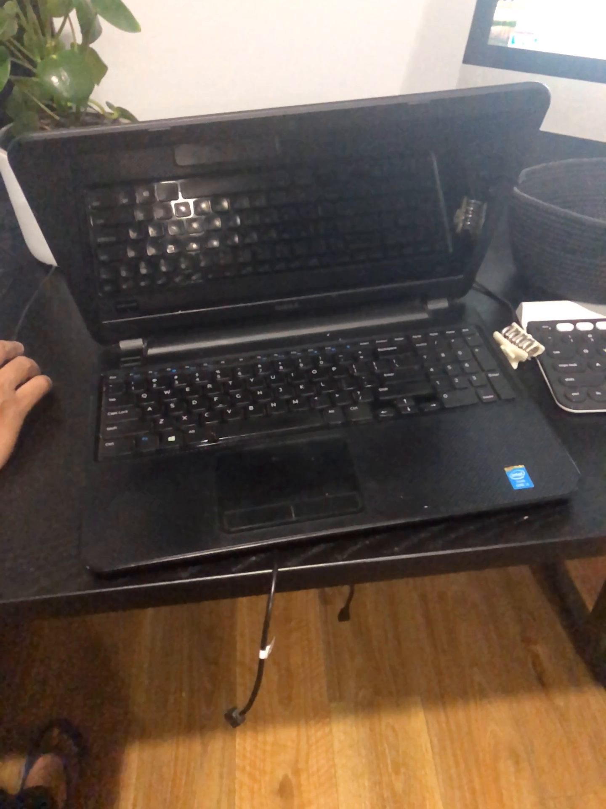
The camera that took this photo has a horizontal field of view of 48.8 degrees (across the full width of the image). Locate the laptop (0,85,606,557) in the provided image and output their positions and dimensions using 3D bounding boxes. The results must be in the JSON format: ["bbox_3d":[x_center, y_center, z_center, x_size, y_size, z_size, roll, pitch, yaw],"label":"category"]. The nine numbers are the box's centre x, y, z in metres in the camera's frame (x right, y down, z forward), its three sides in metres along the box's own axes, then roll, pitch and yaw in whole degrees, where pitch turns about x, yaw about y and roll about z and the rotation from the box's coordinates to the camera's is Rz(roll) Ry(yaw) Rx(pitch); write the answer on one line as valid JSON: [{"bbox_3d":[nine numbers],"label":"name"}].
[{"bbox_3d":[-0.002,-0.066,0.481,0.366,0.210,0.207,-7,43,-5],"label":"laptop"}]
